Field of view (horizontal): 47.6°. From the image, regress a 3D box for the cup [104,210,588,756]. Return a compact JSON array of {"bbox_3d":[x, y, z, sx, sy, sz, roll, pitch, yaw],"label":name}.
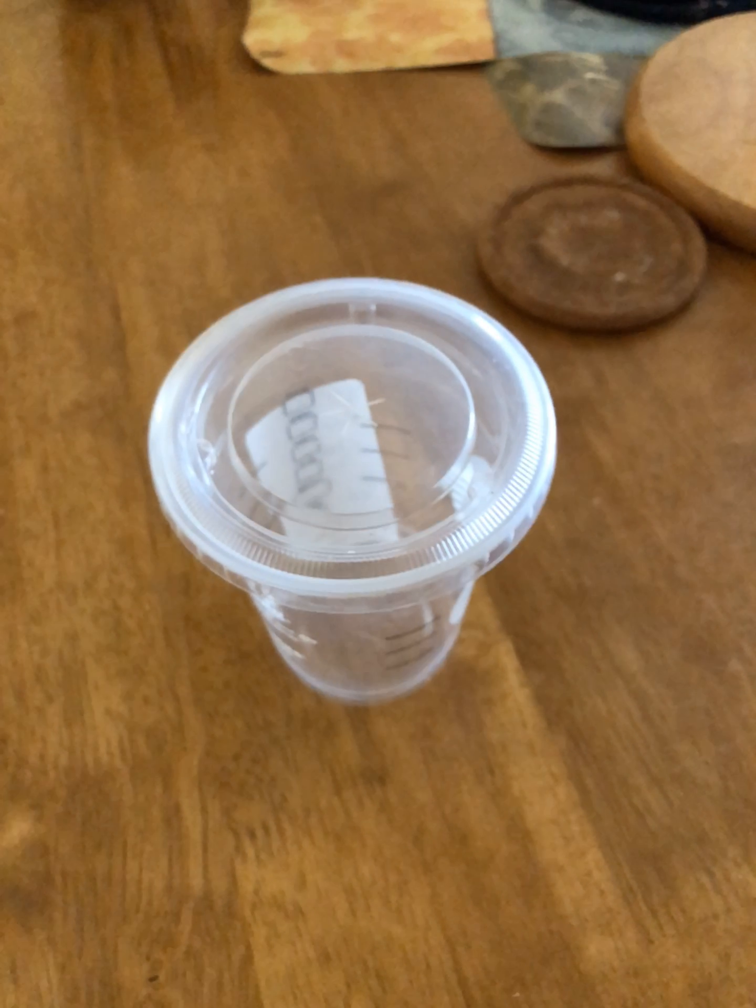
[{"bbox_3d":[0.000,-0.002,0.228,0.090,0.100,0.100,4,56,5],"label":"cup"}]
